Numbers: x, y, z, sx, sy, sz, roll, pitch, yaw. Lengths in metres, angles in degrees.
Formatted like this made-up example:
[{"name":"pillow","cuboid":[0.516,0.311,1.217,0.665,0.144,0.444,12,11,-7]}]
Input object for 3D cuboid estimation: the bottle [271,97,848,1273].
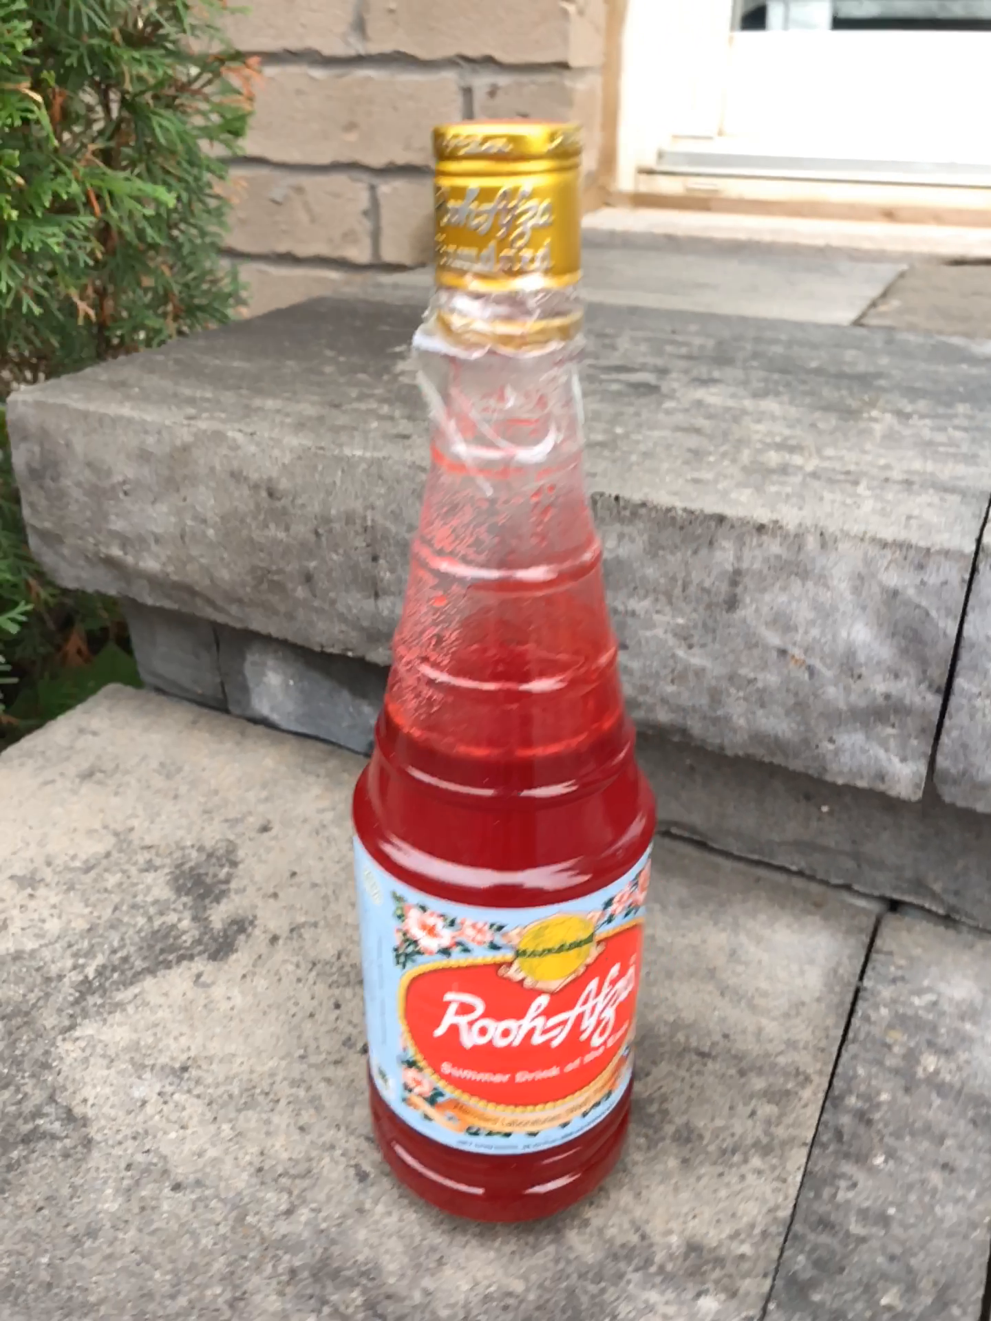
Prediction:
[{"name":"bottle","cuboid":[0.005,0.017,0.275,0.090,0.279,0.080,-6,29,-12]}]
